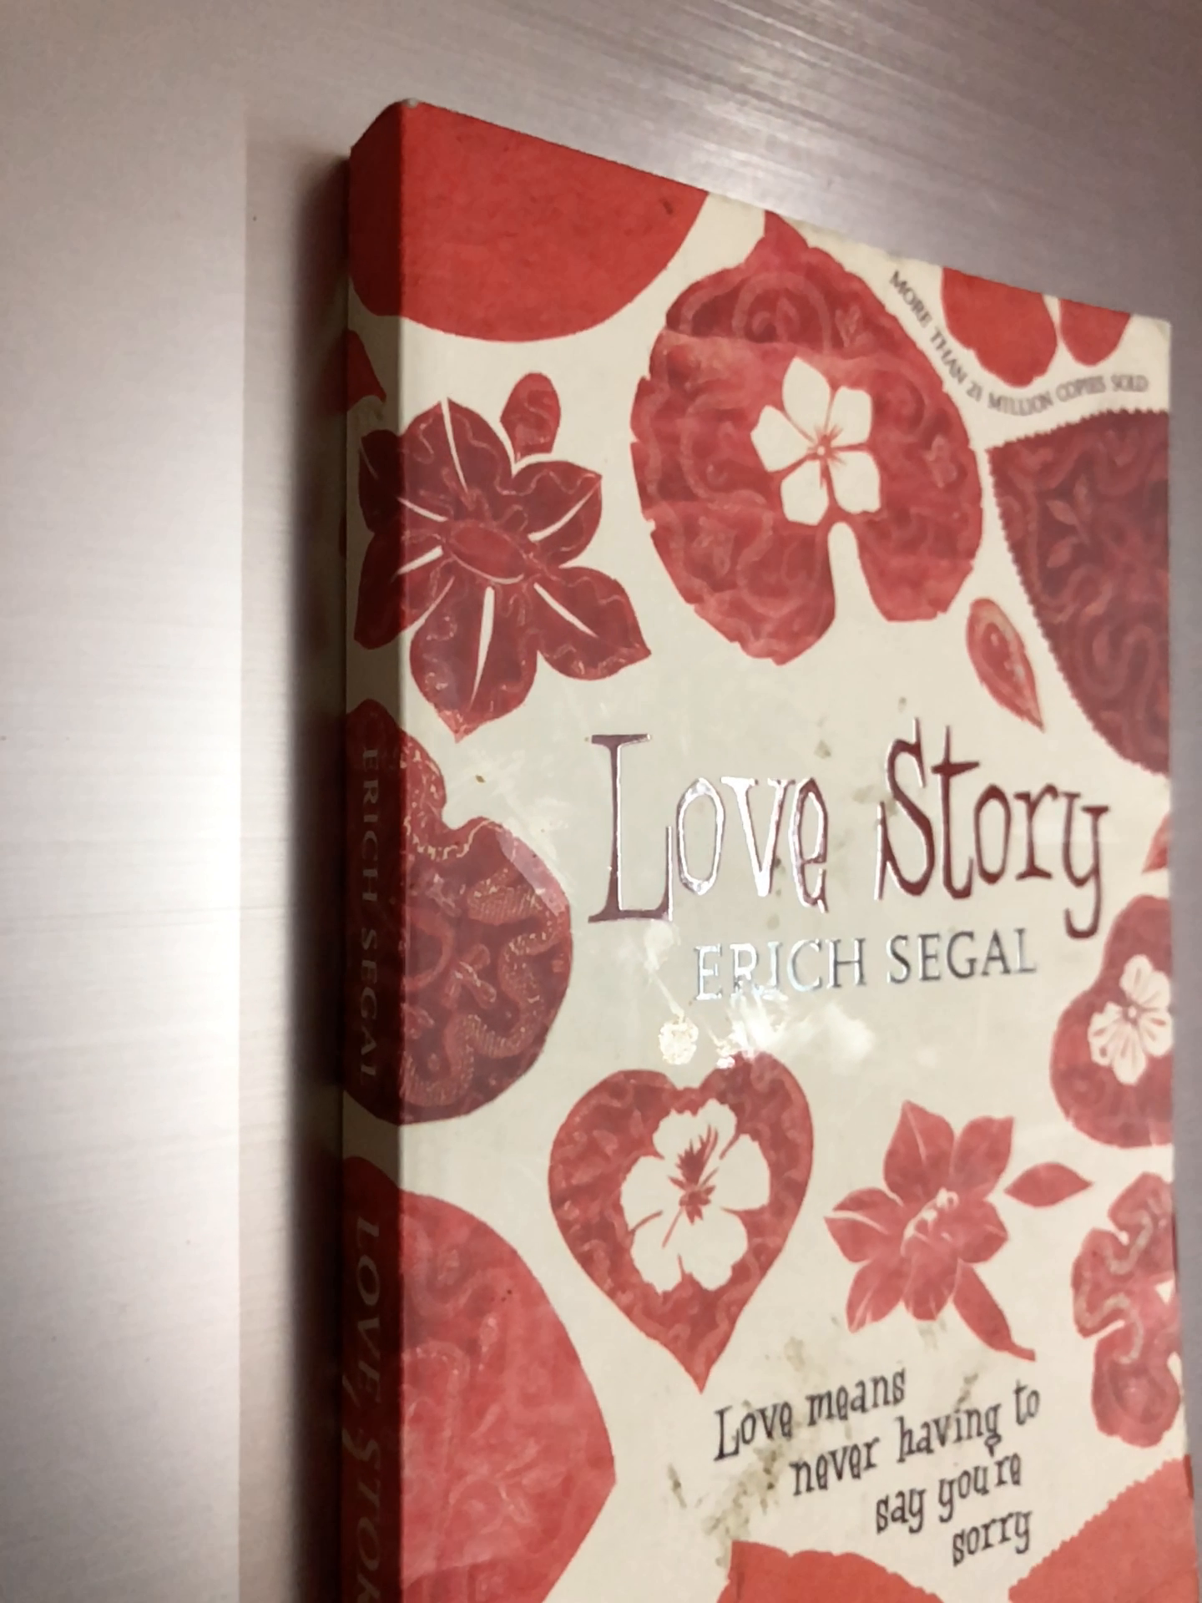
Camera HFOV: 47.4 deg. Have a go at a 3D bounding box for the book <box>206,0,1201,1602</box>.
[{"bbox_3d":[0.020,0.019,0.158,0.121,0.030,0.180,0,88,-34],"label":"book"}]
